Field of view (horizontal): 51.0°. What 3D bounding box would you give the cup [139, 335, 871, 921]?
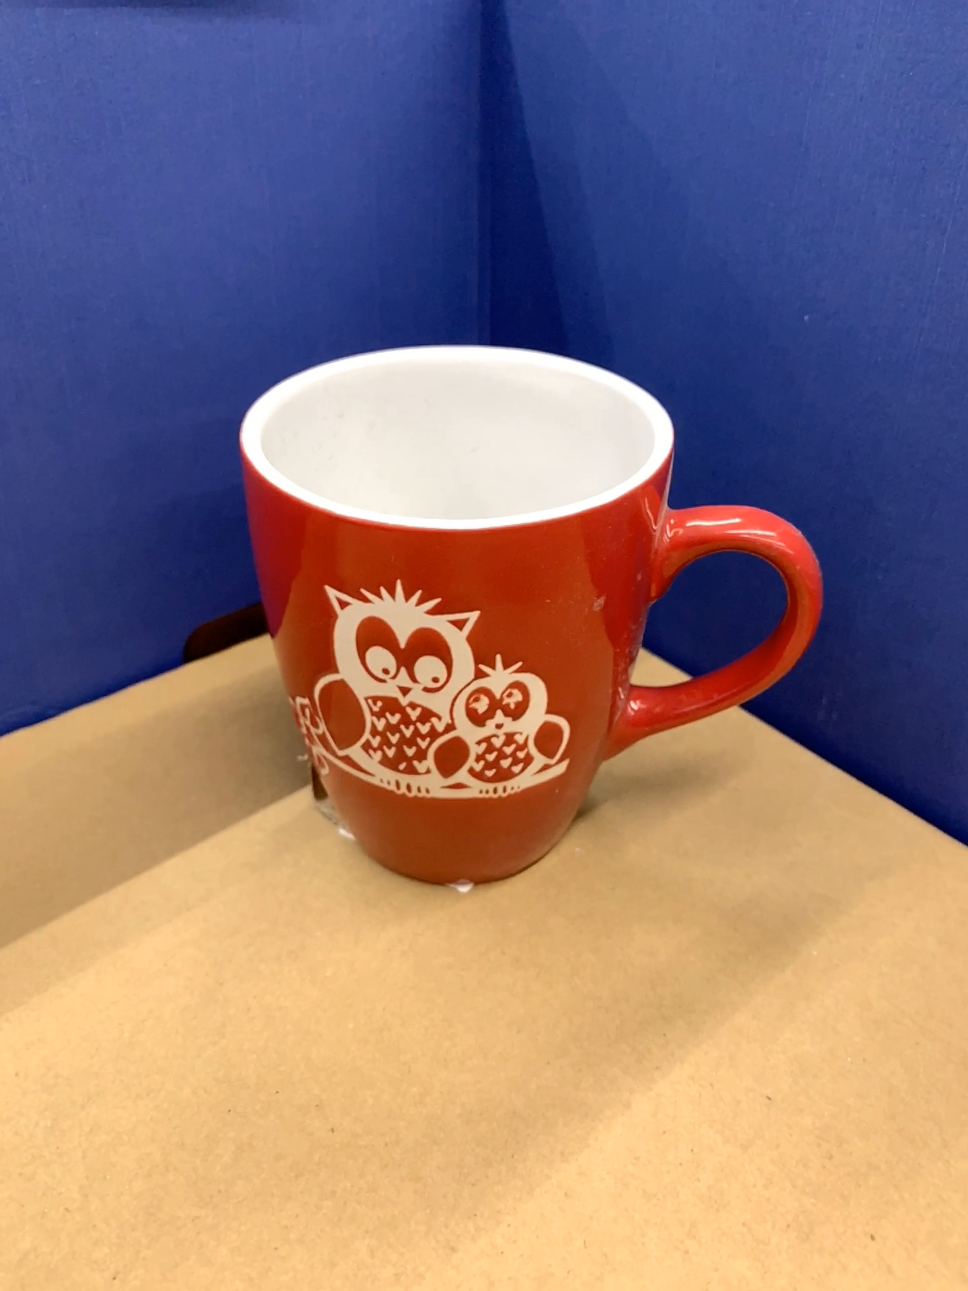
[{"bbox_3d":[0.004,-0.010,0.233,0.120,0.091,0.100,2,33,1],"label":"cup"}]
